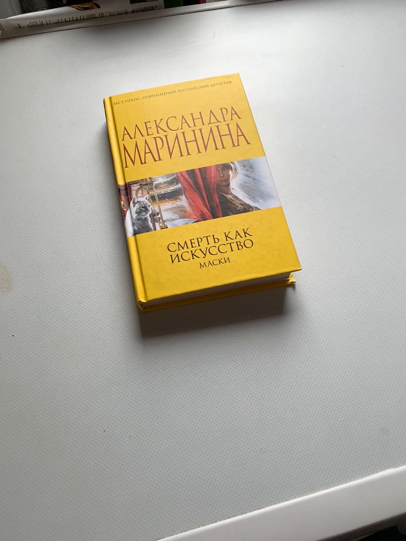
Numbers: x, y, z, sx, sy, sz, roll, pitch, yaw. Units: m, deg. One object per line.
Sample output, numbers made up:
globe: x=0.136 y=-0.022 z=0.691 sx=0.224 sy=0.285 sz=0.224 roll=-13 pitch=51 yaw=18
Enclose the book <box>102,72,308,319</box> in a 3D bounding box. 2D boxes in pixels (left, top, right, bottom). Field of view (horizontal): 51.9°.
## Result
book: x=-0.006 y=-0.067 z=0.332 sx=0.120 sy=0.030 sz=0.189 roll=-11 pitch=69 yaw=-5
